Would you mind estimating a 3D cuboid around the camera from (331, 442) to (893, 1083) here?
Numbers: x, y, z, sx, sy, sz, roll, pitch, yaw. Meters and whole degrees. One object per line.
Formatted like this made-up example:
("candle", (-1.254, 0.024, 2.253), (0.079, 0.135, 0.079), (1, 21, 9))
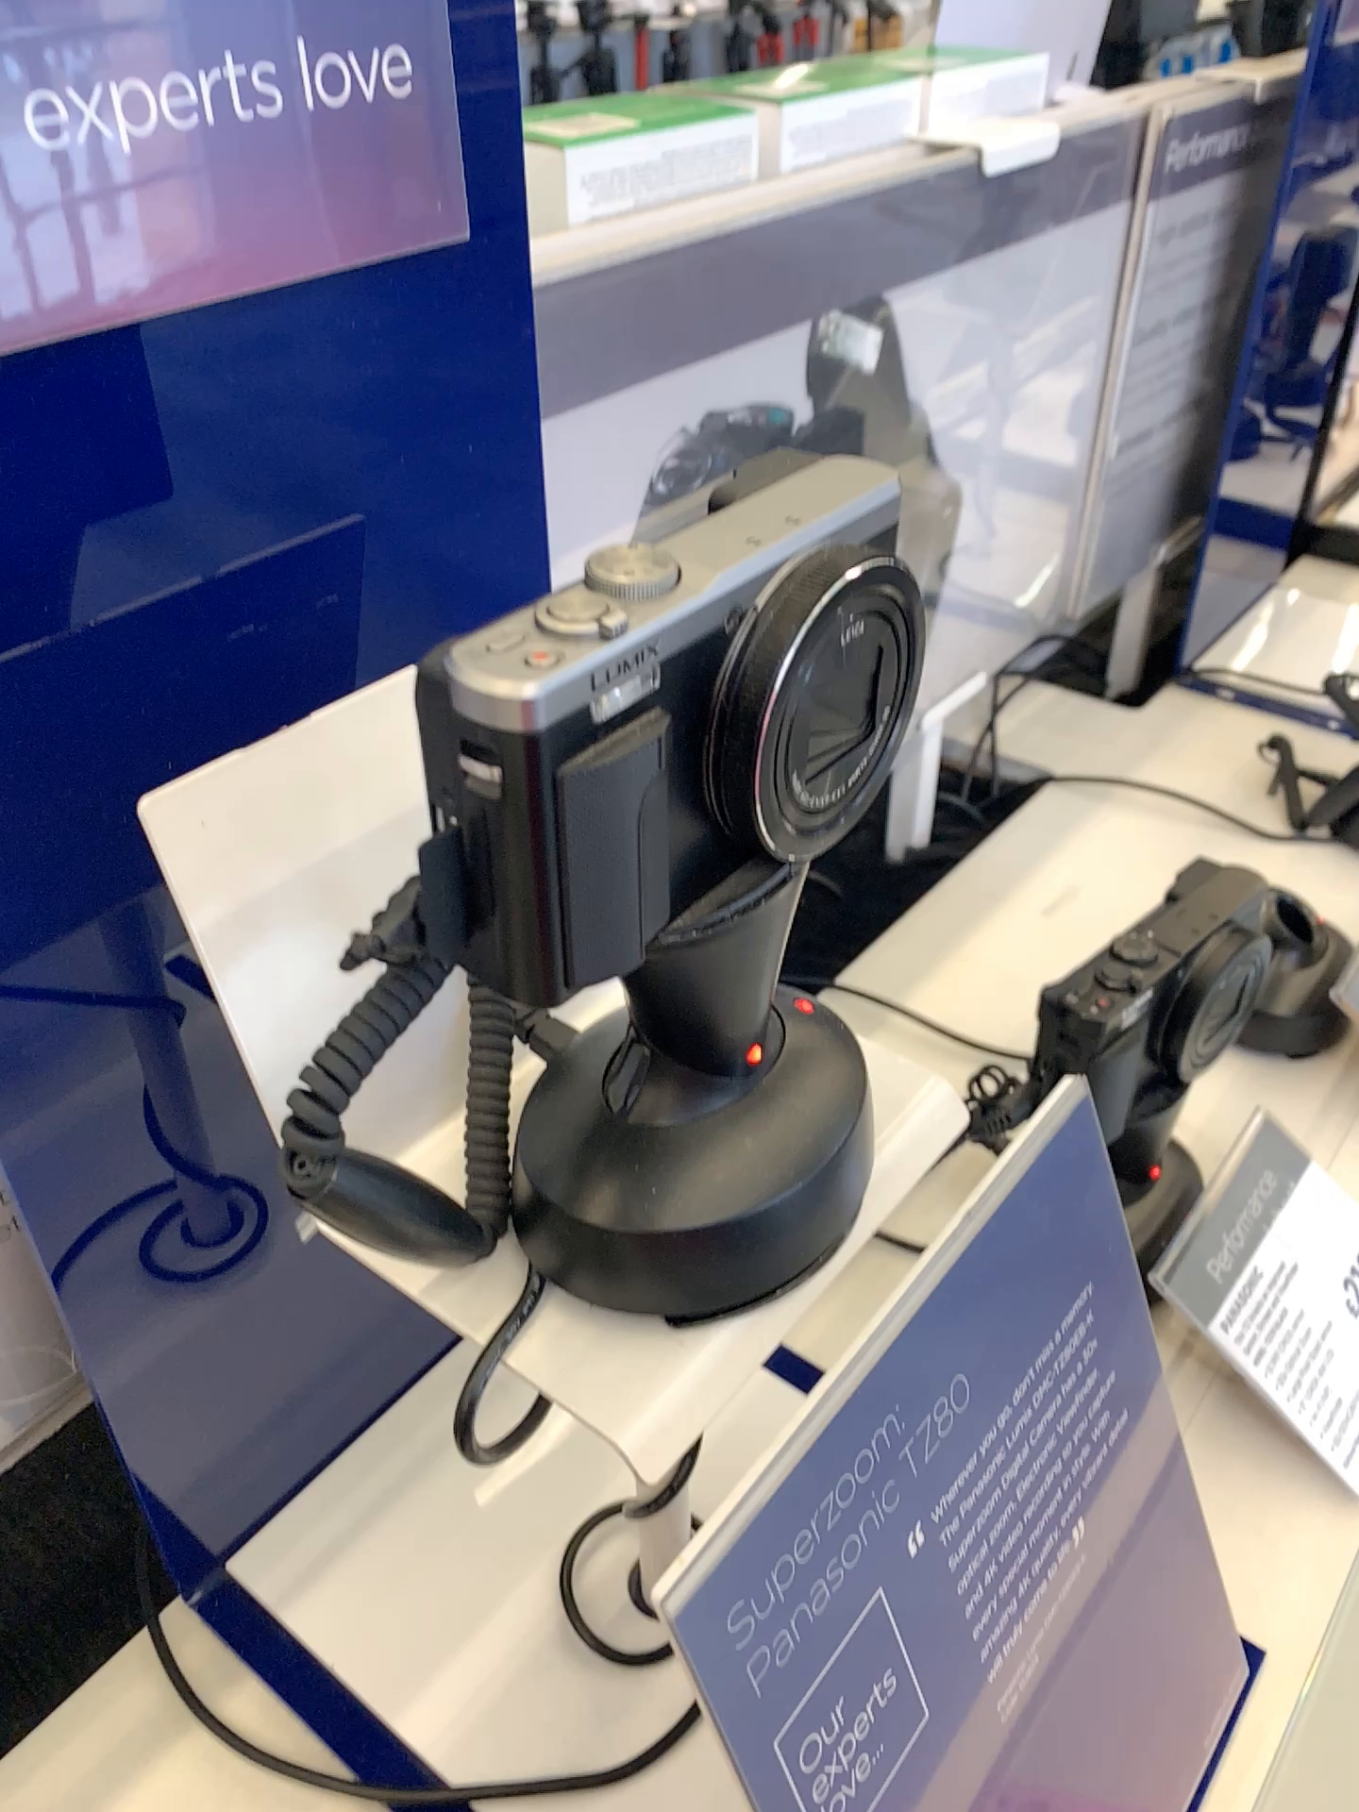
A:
("camera", (-0.005, -0.031, 0.249), (0.030, 0.069, 0.111), (23, 41, 29))
